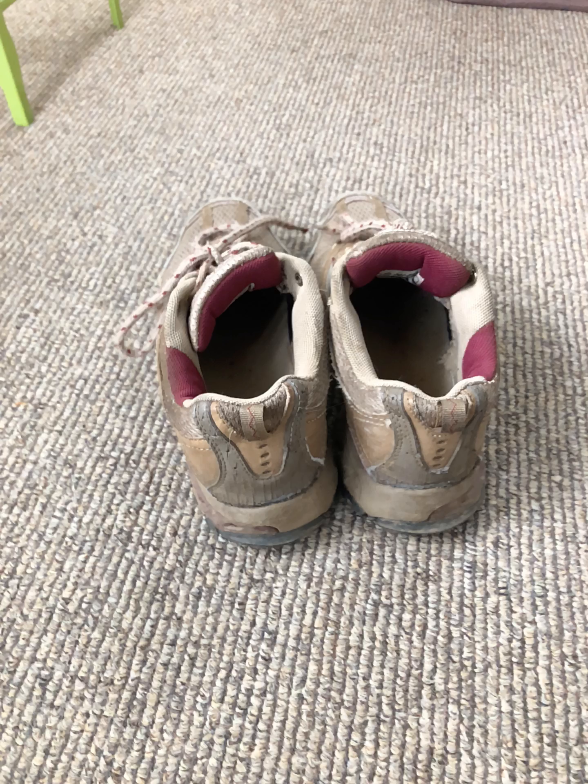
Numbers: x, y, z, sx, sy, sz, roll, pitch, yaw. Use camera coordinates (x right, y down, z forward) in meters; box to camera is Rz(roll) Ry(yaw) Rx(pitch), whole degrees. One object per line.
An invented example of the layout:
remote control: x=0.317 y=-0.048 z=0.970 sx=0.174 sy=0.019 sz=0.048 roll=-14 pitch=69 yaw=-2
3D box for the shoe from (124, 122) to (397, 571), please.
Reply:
shoe: x=-0.036 y=-0.046 z=0.423 sx=0.110 sy=0.118 sz=0.272 roll=-9 pitch=51 yaw=-8

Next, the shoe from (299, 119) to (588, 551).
shoe: x=0.070 y=-0.052 z=0.433 sx=0.112 sy=0.123 sz=0.273 roll=-3 pitch=50 yaw=-3
